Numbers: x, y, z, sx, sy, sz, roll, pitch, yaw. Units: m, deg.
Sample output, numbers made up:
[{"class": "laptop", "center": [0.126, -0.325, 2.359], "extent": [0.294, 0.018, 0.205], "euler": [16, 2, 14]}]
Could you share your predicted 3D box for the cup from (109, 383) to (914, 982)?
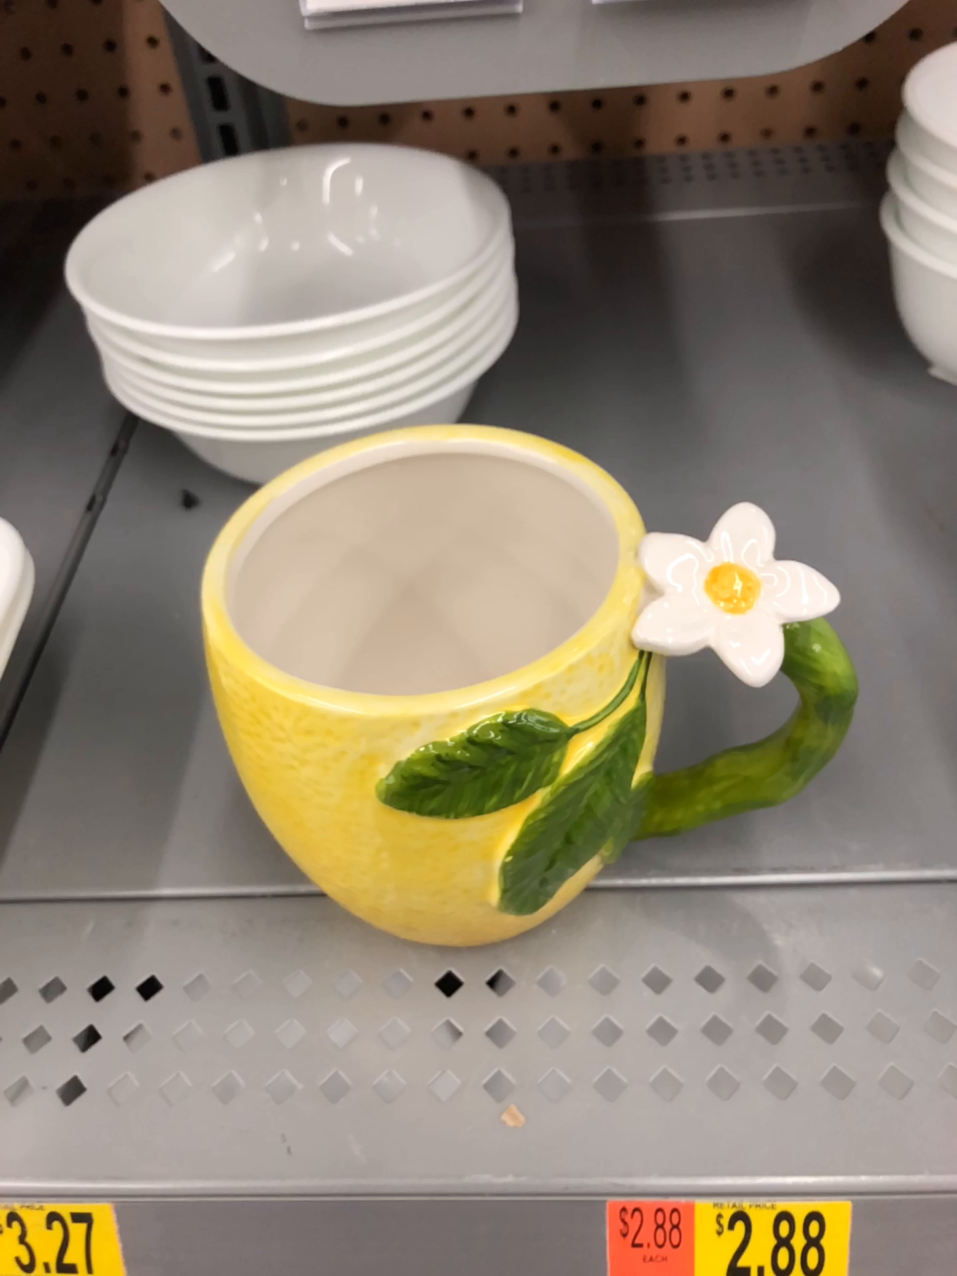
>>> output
[{"class": "cup", "center": [0.010, 0.011, 0.255], "extent": [0.139, 0.094, 0.101], "euler": [-1, 45, 5]}]
